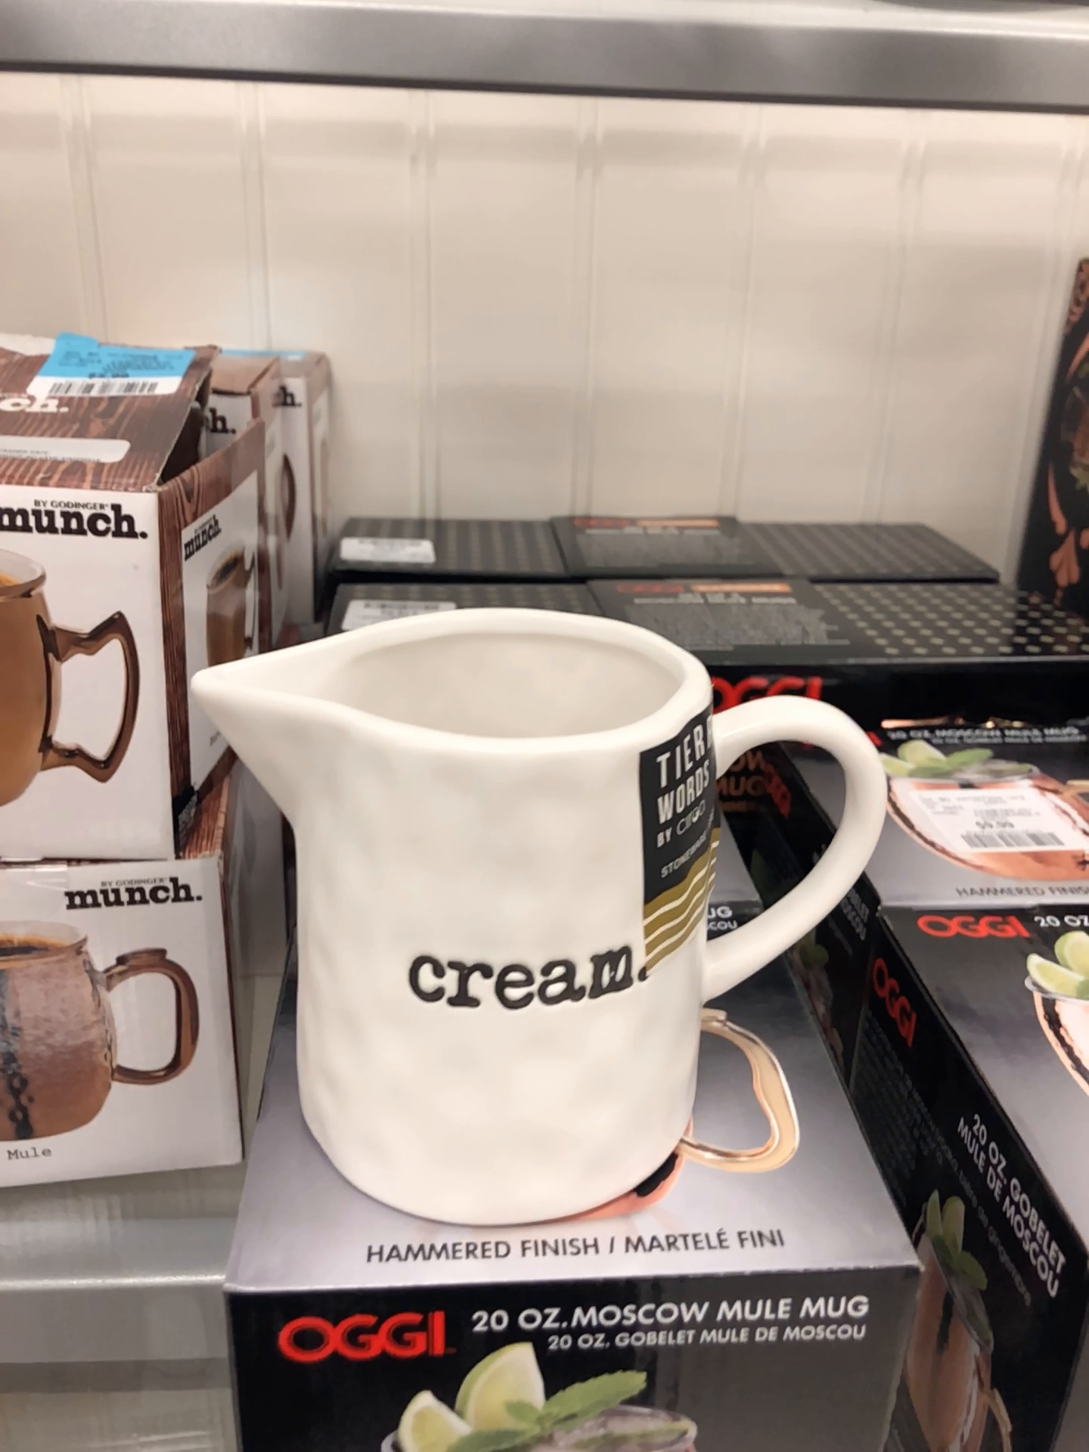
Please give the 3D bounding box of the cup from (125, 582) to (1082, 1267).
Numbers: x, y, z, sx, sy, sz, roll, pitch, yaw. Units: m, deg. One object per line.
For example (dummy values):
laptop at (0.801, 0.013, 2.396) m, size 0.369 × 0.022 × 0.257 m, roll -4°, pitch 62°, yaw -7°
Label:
cup at (0.005, 0.026, 0.198) m, size 0.125 × 0.080 × 0.063 m, roll -2°, pitch 23°, yaw -10°
